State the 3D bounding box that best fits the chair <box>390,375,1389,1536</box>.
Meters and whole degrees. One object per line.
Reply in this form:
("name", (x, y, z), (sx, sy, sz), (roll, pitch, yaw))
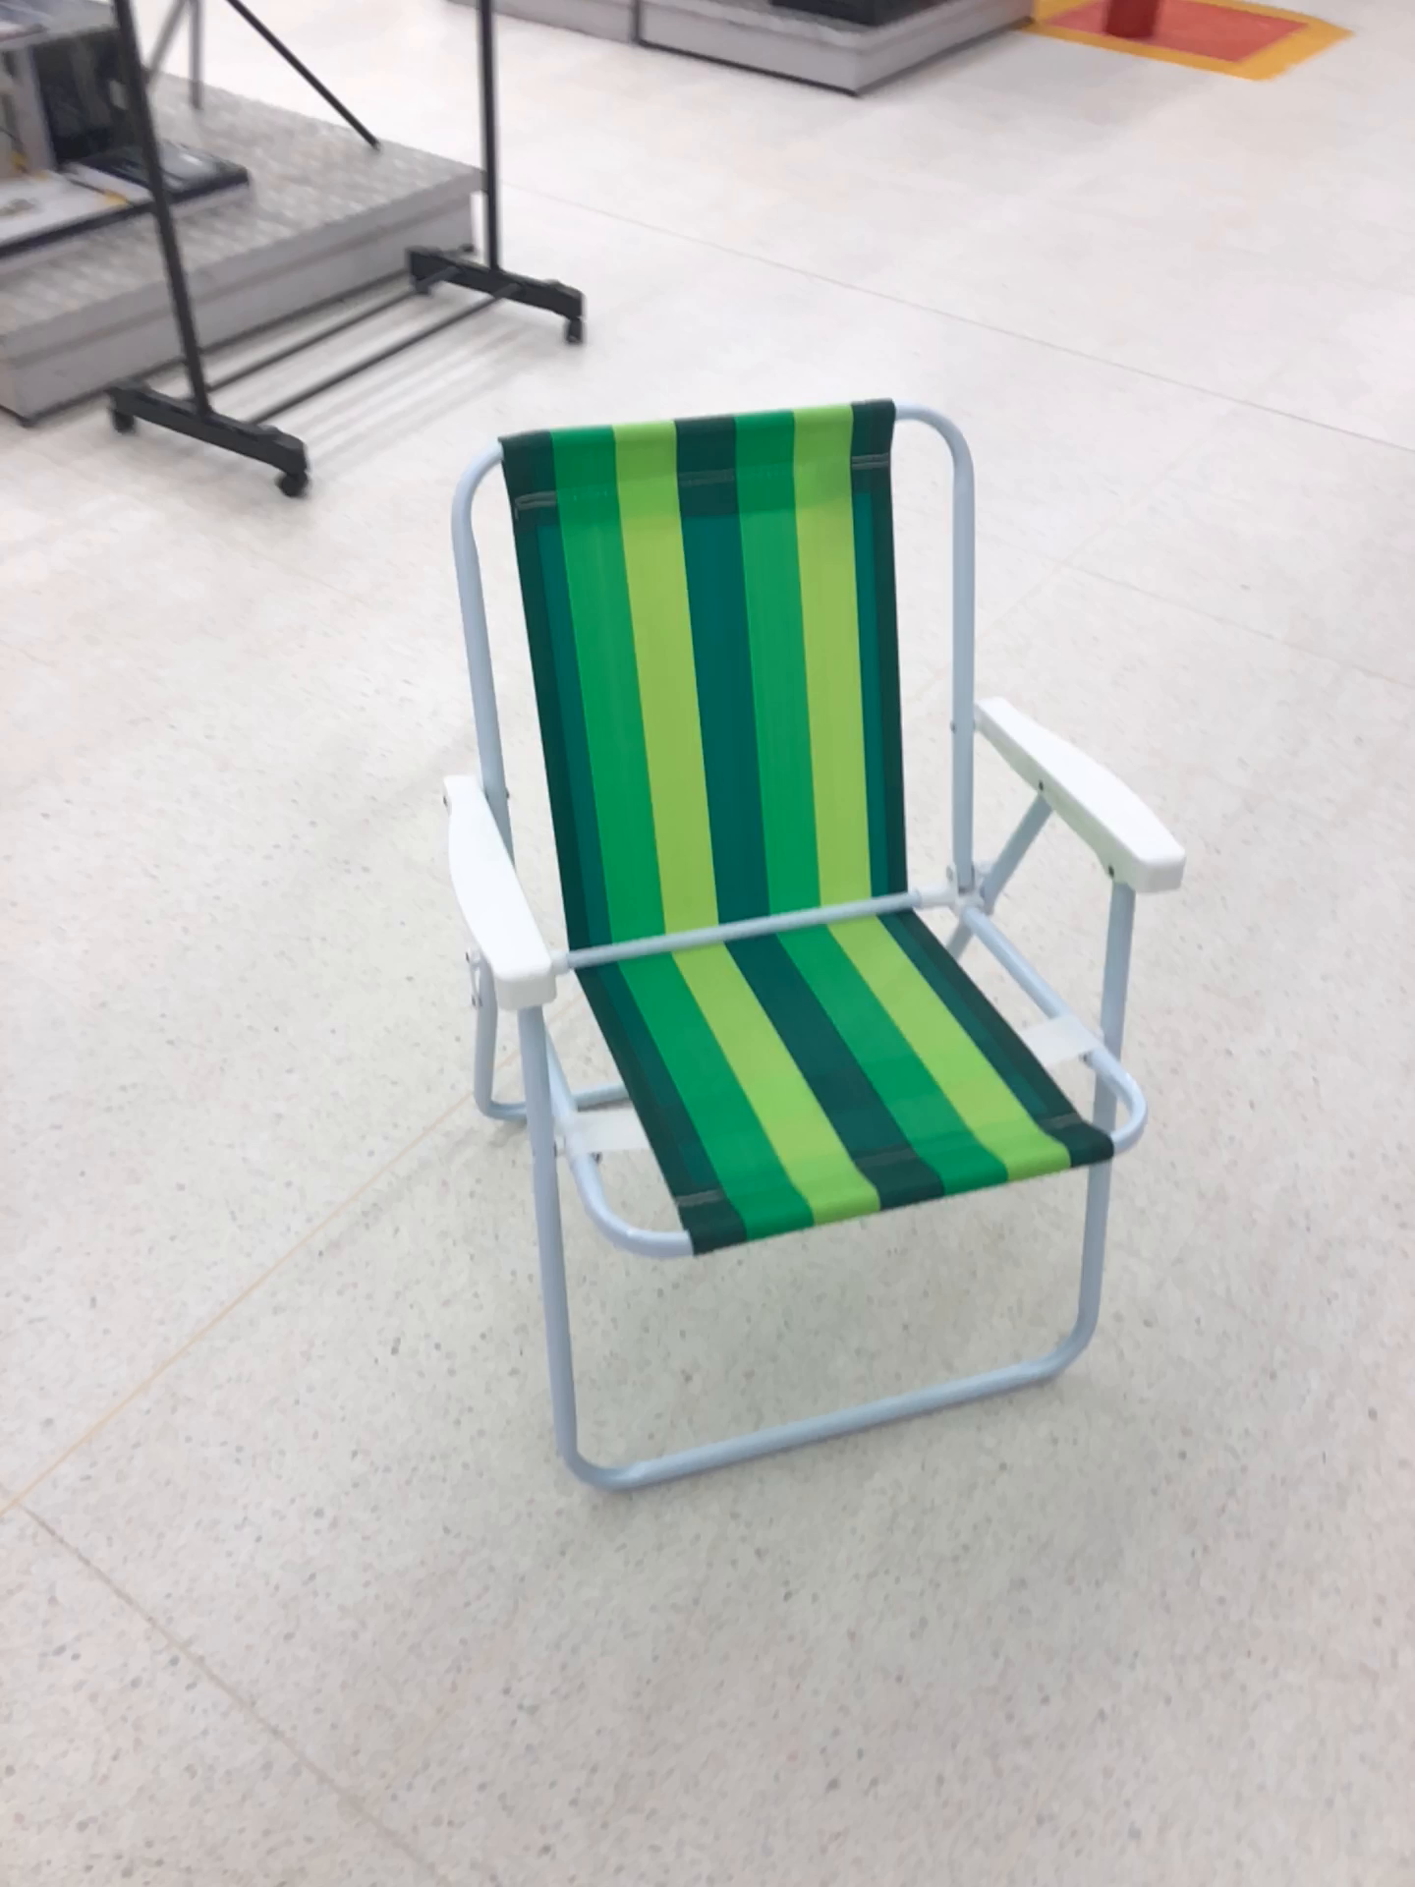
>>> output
("chair", (0.066, 0.007, 1.268), (0.510, 0.715, 0.523), (-10, 44, -14))
